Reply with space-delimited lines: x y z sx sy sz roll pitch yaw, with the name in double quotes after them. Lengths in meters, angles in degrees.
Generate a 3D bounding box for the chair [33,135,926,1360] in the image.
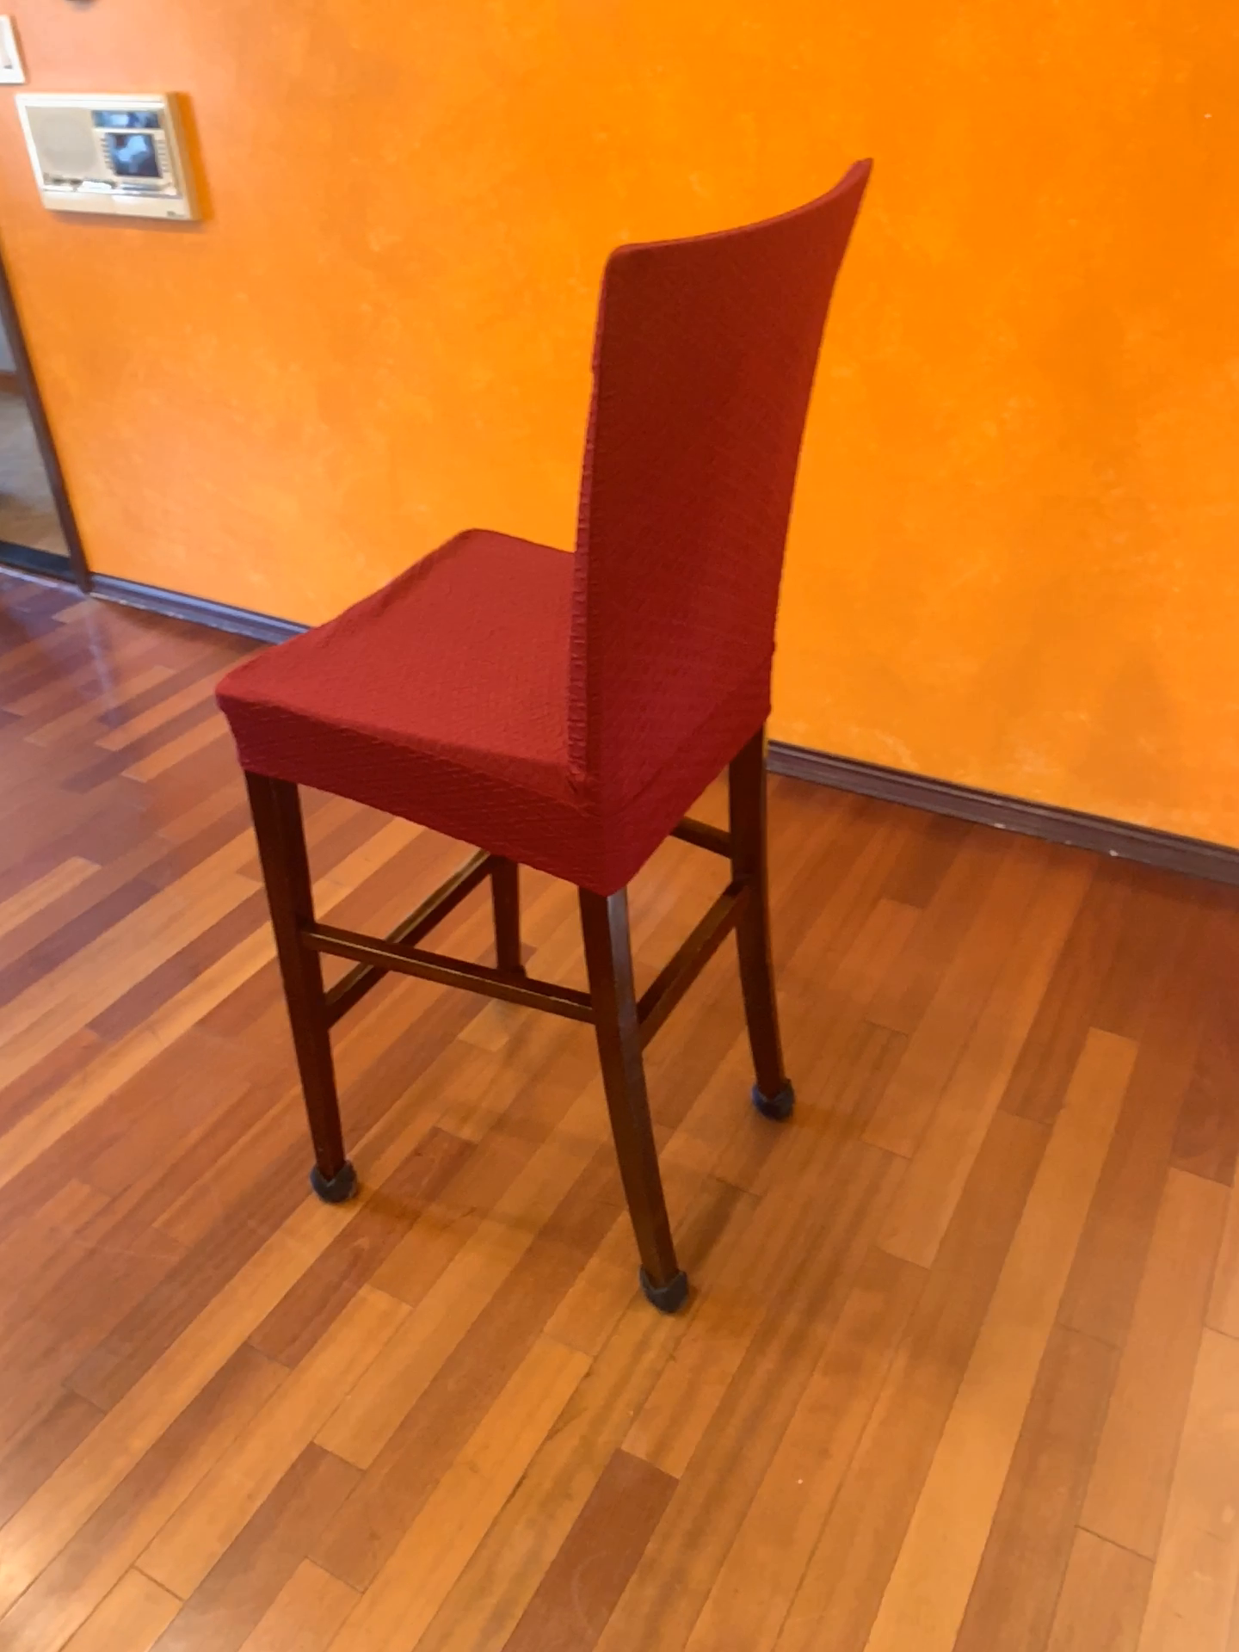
-0.077 -0.074 1.272 0.512 1.026 0.465 16 37 25 "chair"
